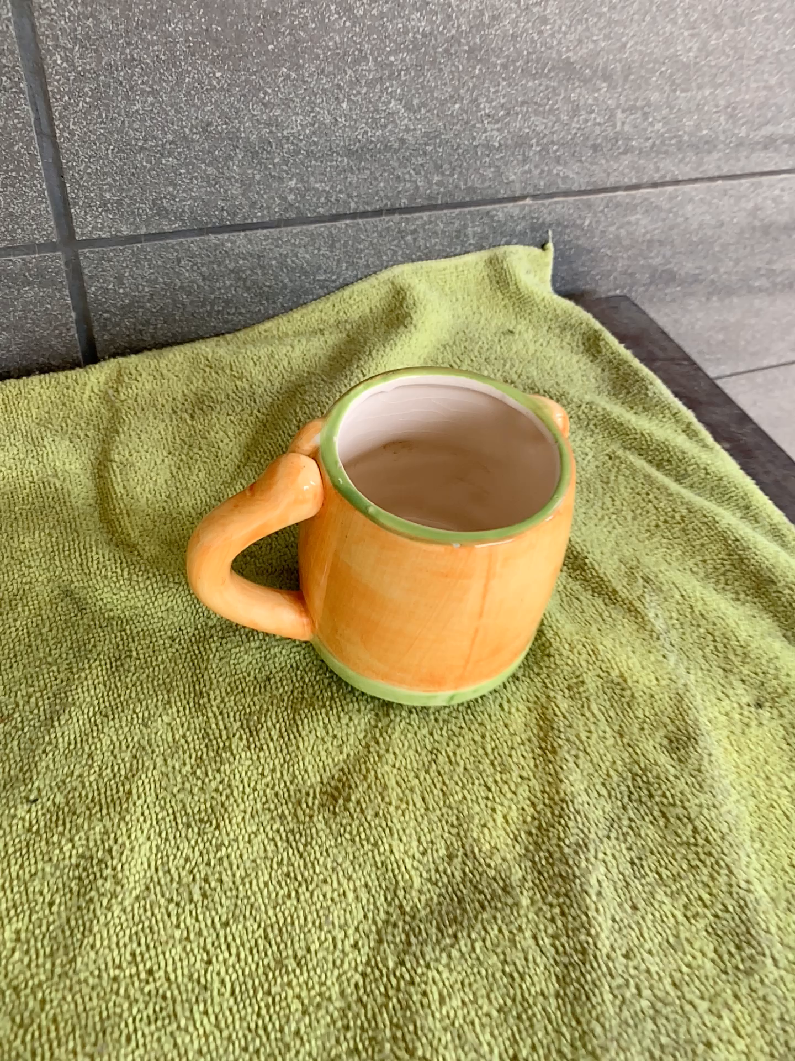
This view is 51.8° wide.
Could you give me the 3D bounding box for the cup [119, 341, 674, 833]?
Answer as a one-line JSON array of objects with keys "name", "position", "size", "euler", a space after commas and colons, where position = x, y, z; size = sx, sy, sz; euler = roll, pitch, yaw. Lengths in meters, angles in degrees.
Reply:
[{"name": "cup", "position": [-0.006, 0.015, 0.258], "size": [0.130, 0.100, 0.080], "euler": [-14, 51, -20]}]
